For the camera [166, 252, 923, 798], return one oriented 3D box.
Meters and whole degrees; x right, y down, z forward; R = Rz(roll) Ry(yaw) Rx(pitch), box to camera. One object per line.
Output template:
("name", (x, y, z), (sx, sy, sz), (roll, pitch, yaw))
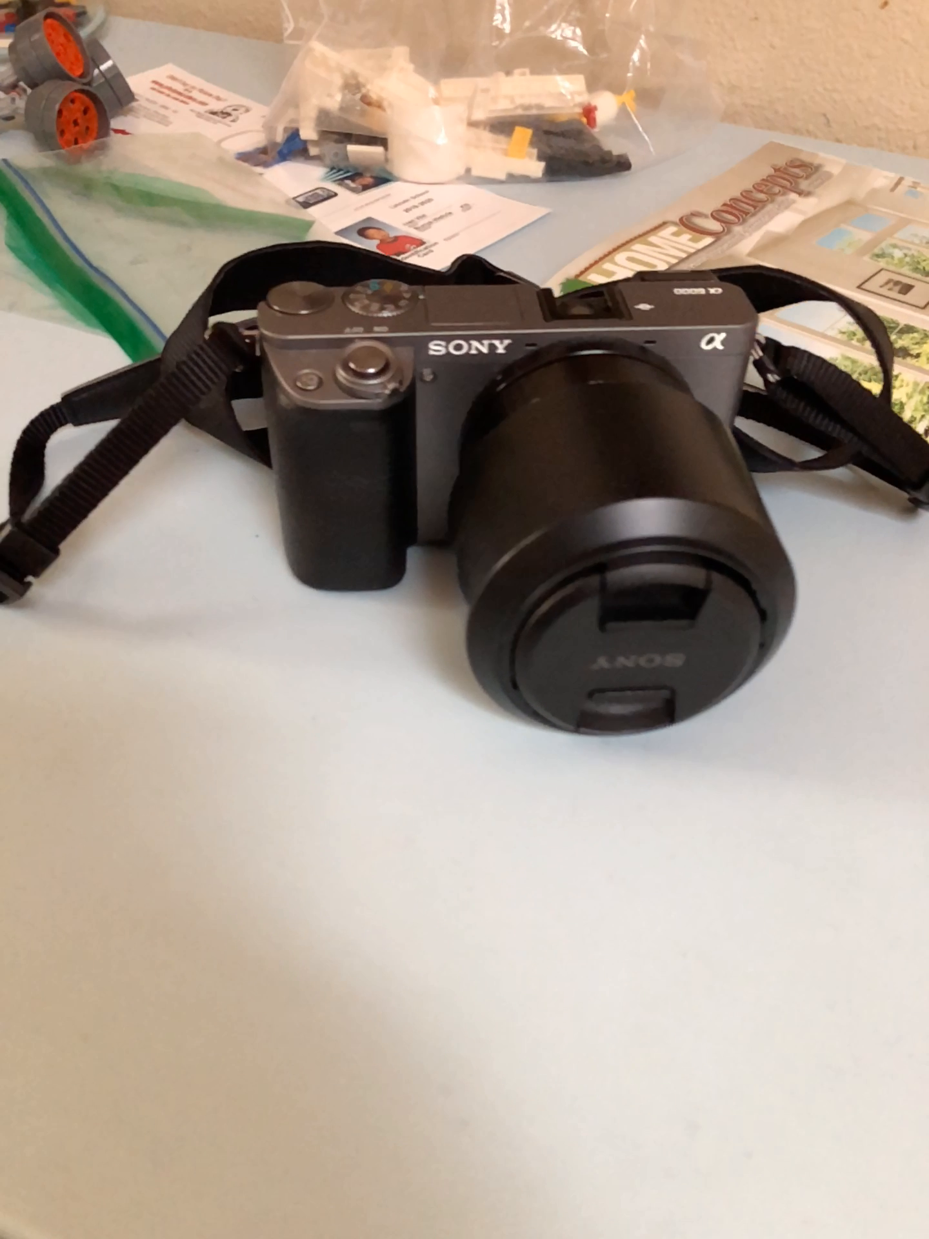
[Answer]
("camera", (0.011, -0.027, 0.238), (0.130, 0.070, 0.111), (-1, 45, -4))
